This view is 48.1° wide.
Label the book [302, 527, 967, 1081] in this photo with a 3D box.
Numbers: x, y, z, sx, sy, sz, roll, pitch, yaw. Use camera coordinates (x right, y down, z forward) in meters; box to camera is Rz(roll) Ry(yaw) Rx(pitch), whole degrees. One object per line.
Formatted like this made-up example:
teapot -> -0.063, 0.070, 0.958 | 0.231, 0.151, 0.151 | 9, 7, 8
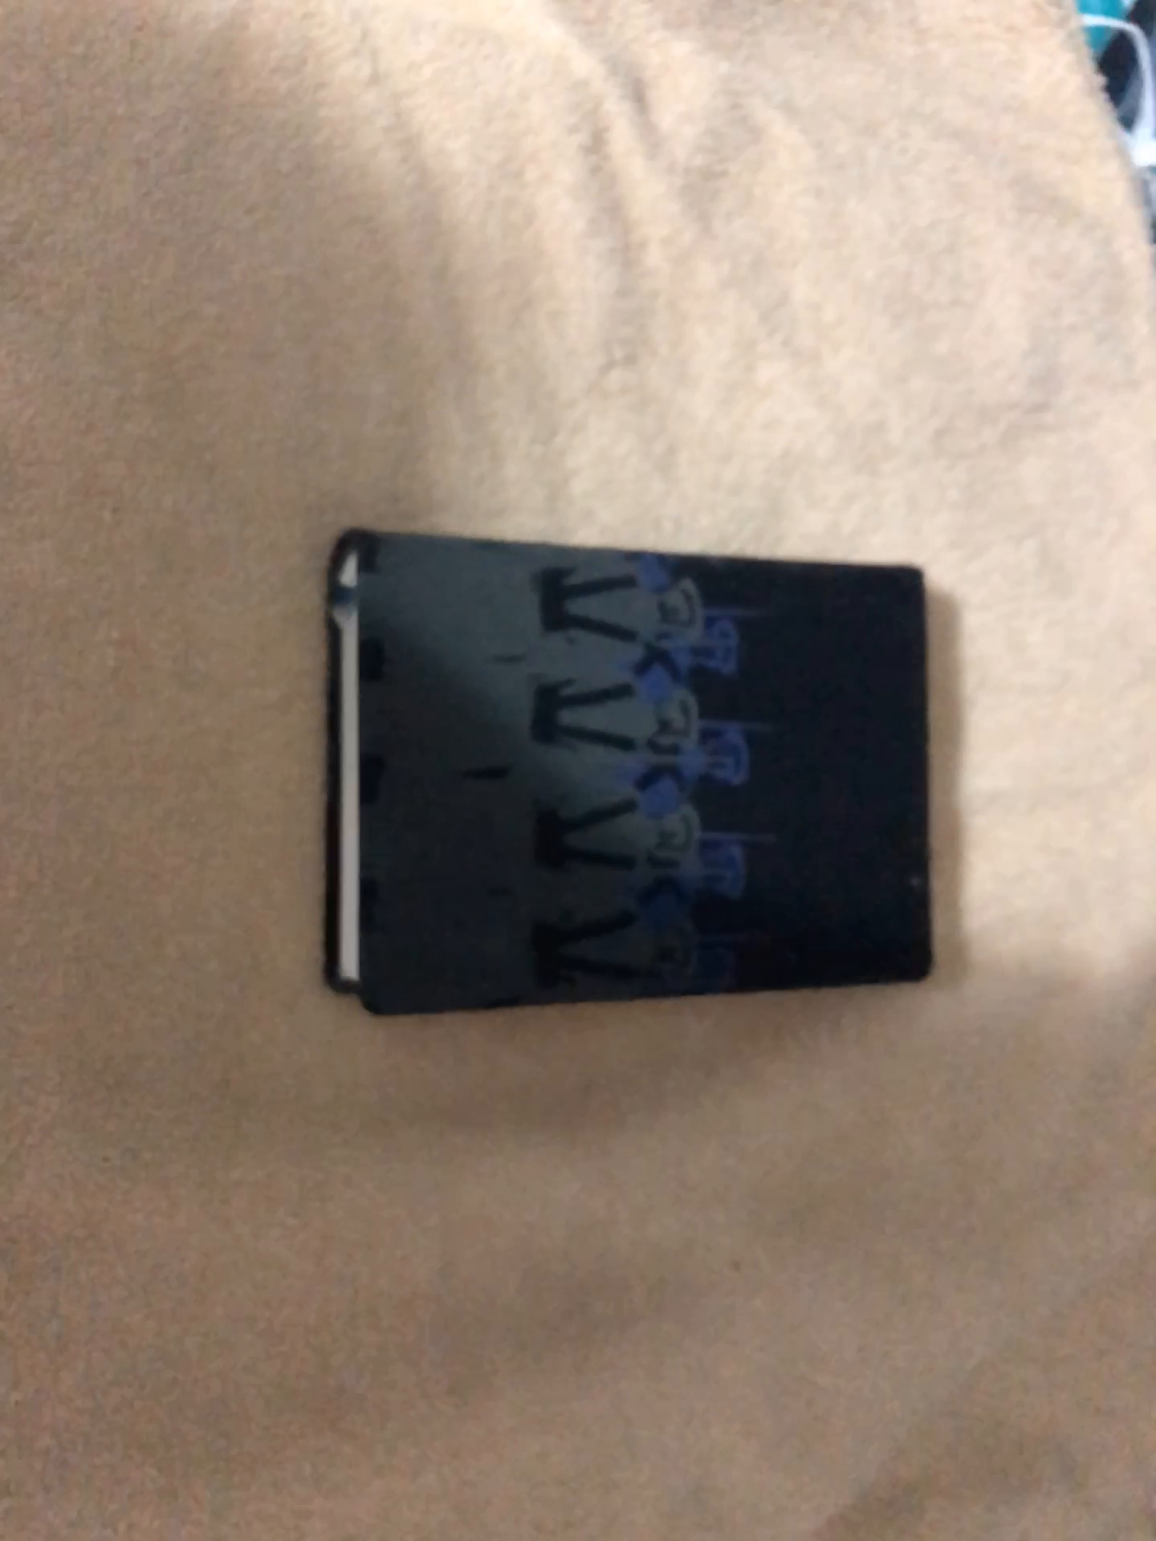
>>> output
book -> 0.019, 0.009, 0.384 | 0.190, 0.050, 0.140 | 0, 87, -20
